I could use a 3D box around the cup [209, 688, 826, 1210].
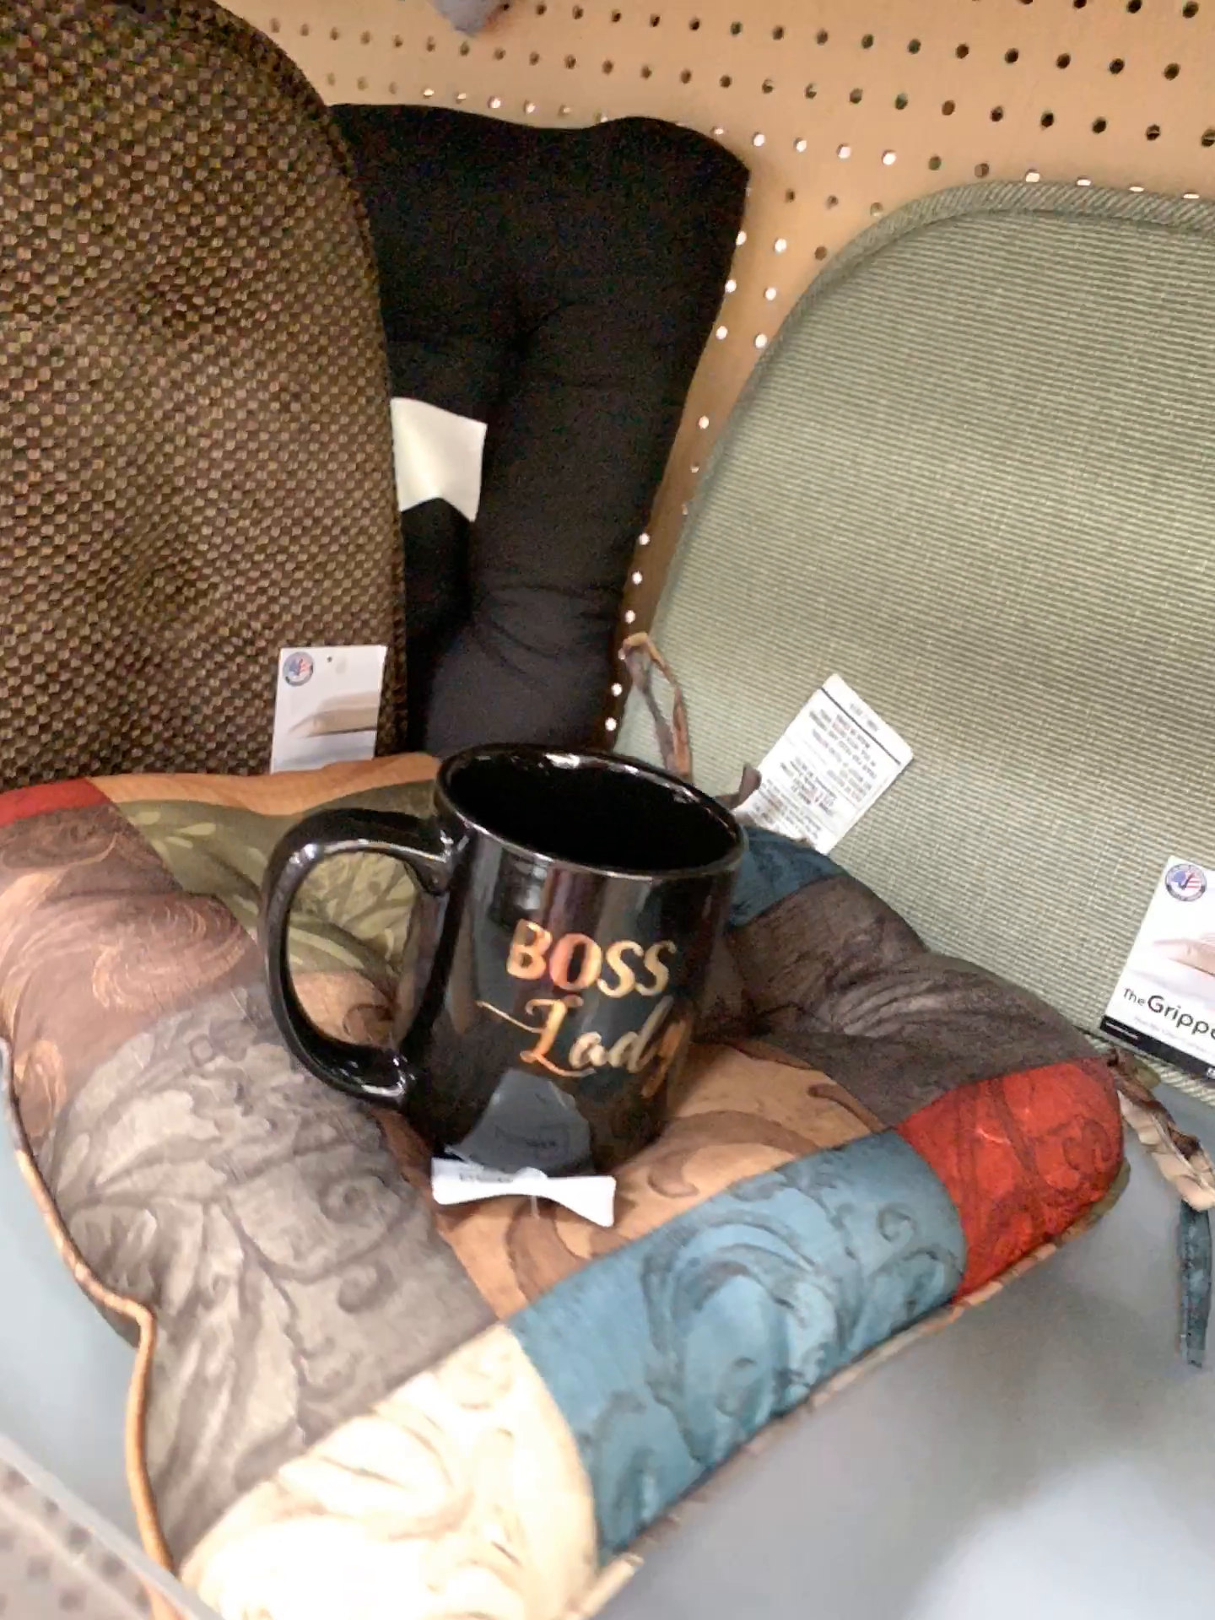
[{"bbox_3d":[-0.032,0.040,0.363,0.130,0.100,0.100,9,22,-29],"label":"cup"}]
